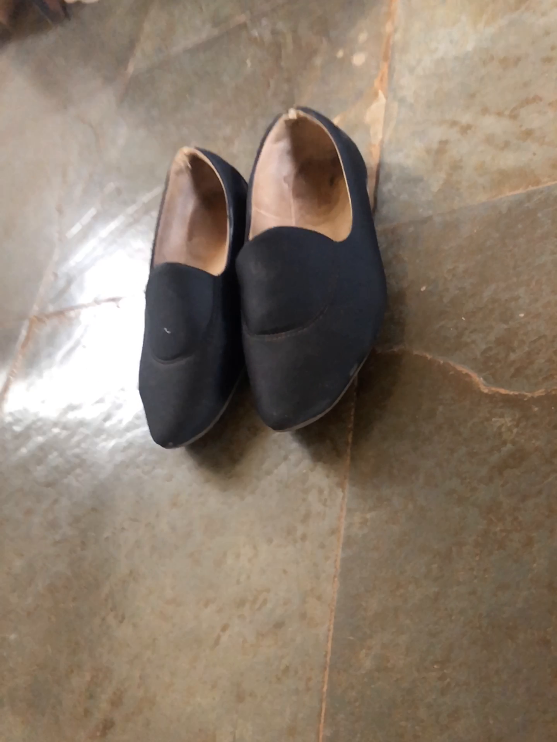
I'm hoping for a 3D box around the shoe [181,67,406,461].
[{"bbox_3d":[0.023,-0.081,0.447,0.110,0.080,0.271,-10,57,30],"label":"shoe"}]

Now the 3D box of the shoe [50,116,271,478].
[{"bbox_3d":[-0.081,-0.063,0.491,0.110,0.080,0.271,-14,55,27],"label":"shoe"}]
